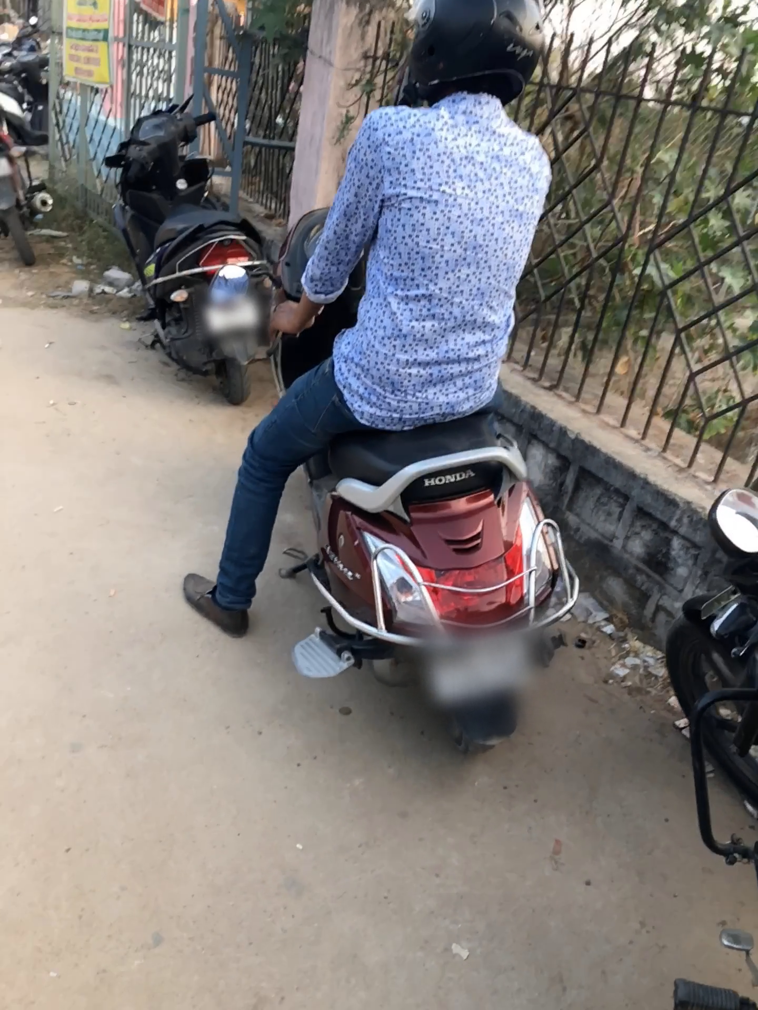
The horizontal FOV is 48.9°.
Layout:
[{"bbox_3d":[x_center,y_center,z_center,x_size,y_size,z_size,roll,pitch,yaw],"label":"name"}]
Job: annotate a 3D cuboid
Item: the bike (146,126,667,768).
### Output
[{"bbox_3d":[-0.150,-0.277,2.110,0.577,0.962,1.495,-2,31,-24],"label":"bike"}]
